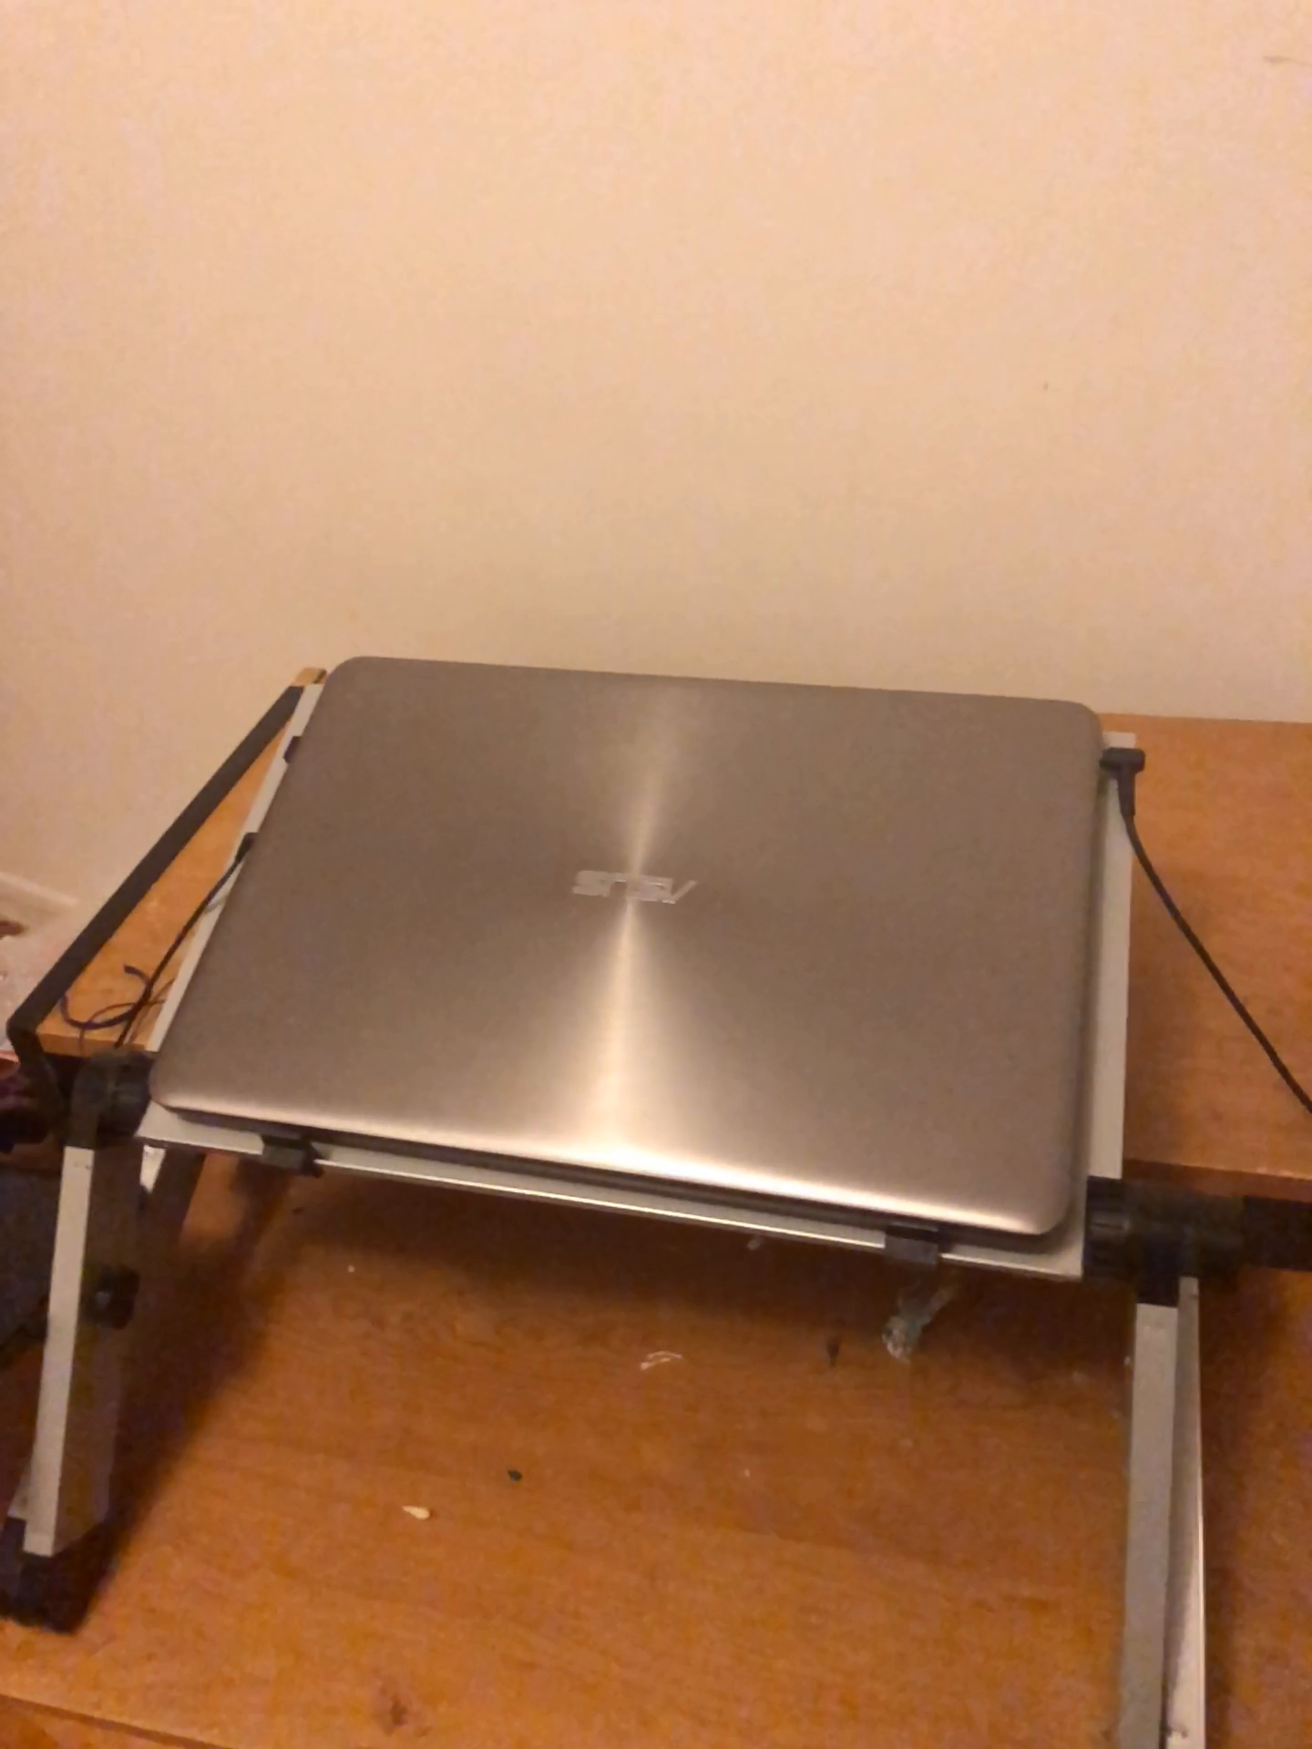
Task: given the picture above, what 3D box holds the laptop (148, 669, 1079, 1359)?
[{"bbox_3d":[-0.009,0.039,0.645,0.362,0.071,0.250,5,53,16],"label":"laptop"}]
